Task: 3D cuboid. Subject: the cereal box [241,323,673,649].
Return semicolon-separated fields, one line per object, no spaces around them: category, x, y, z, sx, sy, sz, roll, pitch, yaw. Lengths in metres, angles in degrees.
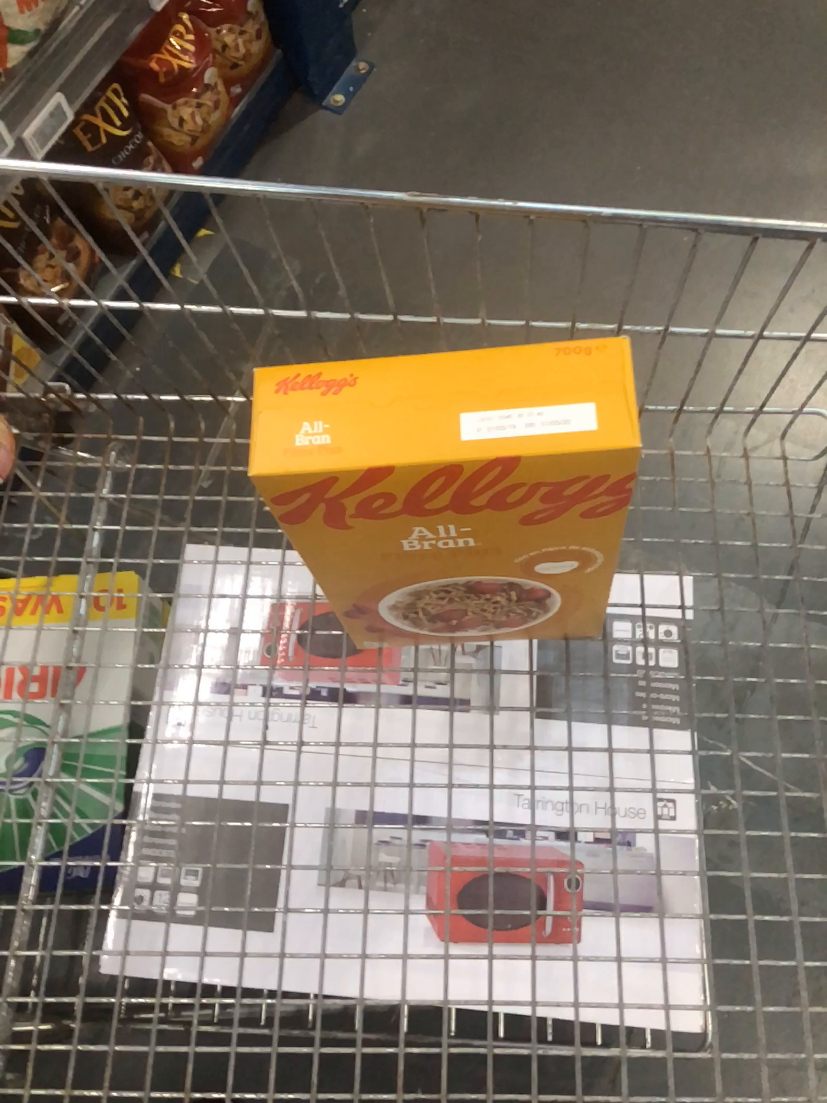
cereal box;0.037;-0.017;0.567;0.200;0.290;0.070;-3;68;7
